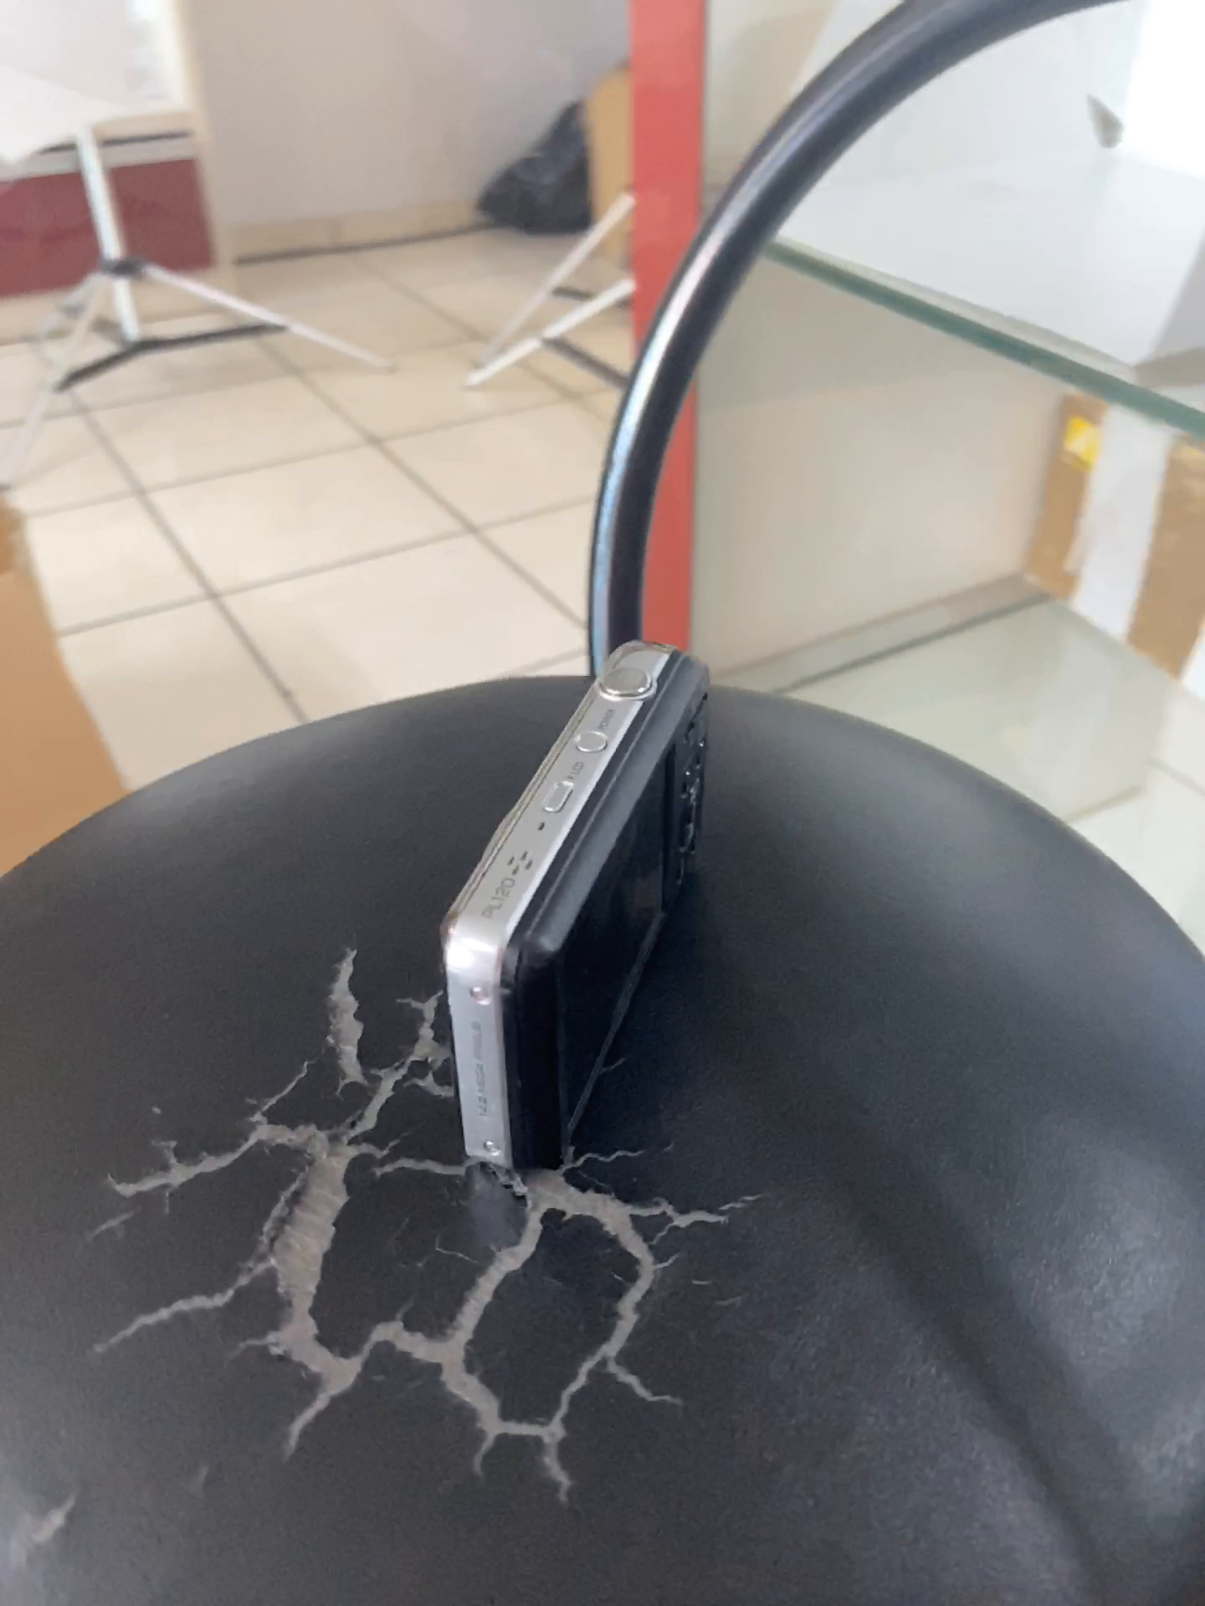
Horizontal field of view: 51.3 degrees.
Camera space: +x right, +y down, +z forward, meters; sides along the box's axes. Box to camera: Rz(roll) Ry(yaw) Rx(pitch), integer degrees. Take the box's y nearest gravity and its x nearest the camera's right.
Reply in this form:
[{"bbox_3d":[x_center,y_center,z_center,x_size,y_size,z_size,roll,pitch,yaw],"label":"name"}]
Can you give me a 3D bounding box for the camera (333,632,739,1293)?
[{"bbox_3d":[-0.005,0.022,0.223,0.030,0.060,0.101,12,39,16],"label":"camera"}]
